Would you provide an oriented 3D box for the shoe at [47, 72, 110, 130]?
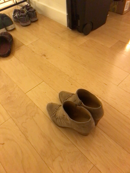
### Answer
[{"bbox_3d":[0.054,0.057,0.633,0.251,0.109,0.110,33,59,28],"label":"shoe"}]

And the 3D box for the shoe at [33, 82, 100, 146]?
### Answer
[{"bbox_3d":[0.002,0.106,0.587,0.250,0.109,0.110,31,59,27],"label":"shoe"}]
